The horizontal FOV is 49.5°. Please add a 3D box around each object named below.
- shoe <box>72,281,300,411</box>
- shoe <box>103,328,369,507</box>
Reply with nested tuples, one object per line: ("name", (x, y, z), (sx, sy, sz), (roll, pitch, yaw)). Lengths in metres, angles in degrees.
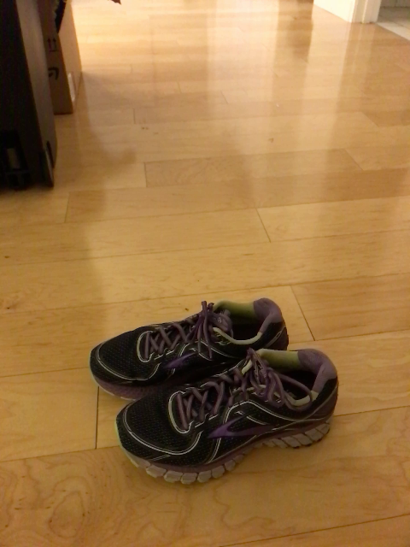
("shoe", (-0.028, 0.089, 0.584), (0.270, 0.069, 0.111), (-7, 40, -9))
("shoe", (0.030, 0.156, 0.515), (0.270, 0.069, 0.121), (-10, 40, -12))
